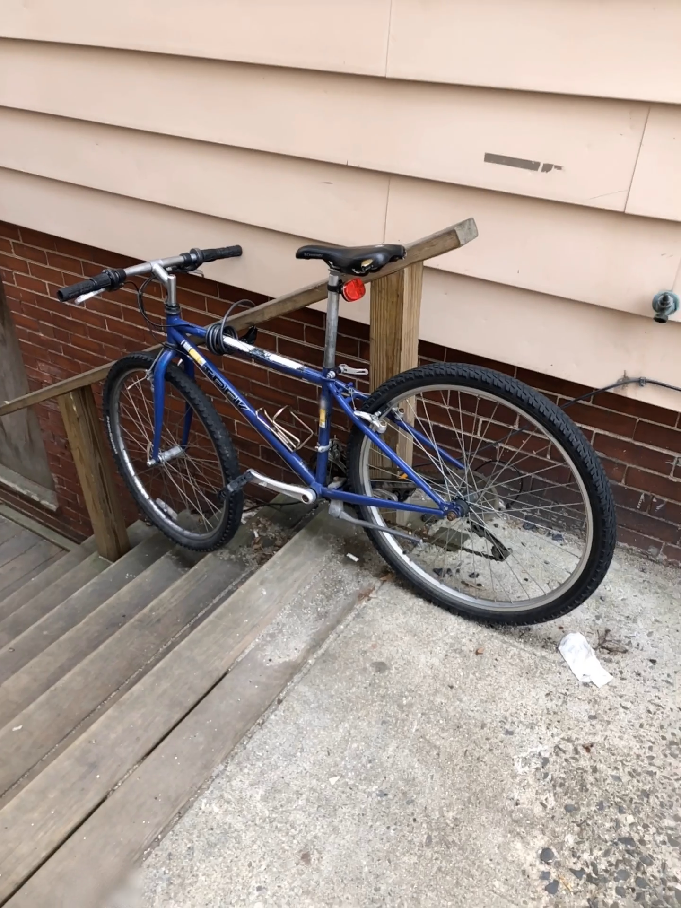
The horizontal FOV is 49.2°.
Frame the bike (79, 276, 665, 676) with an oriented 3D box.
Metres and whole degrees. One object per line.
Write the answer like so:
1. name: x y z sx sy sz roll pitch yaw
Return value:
1. bike: -0.008 -0.069 2.020 1.522 0.619 0.534 13 35 34
